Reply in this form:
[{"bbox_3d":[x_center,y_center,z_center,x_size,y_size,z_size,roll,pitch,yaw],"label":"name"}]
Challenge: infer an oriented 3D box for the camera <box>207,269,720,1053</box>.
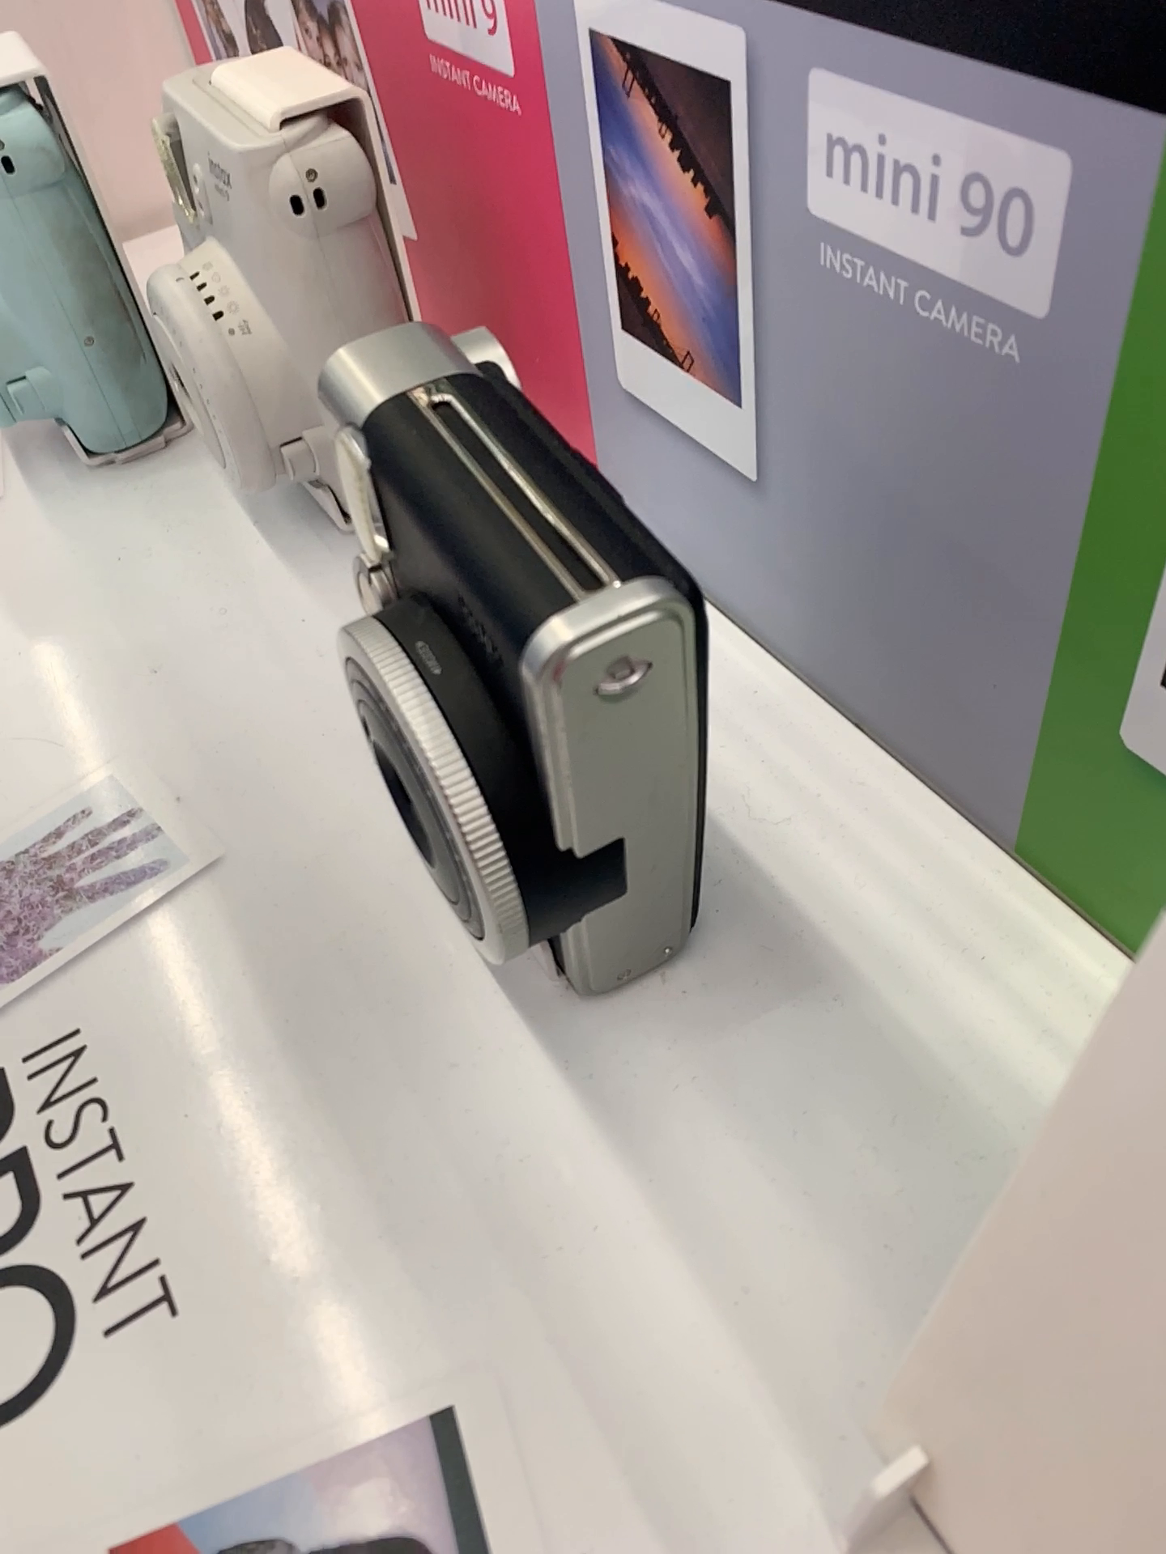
[{"bbox_3d":[-0.020,-0.021,0.240,0.050,0.109,0.101,-24,52,-13],"label":"camera"}]
